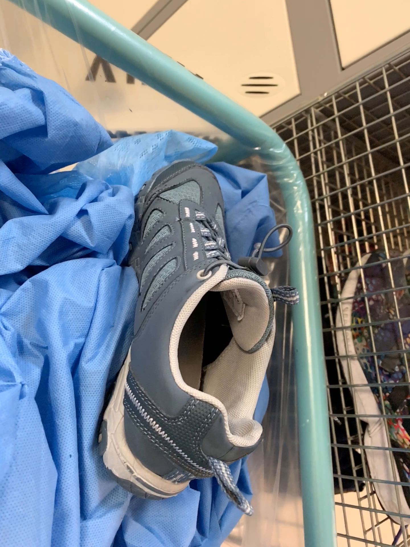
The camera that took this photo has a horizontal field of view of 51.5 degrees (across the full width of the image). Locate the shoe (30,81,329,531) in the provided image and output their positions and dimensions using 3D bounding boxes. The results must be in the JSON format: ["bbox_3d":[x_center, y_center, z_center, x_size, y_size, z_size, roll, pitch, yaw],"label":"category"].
[{"bbox_3d":[-0.001,0.016,0.281,0.102,0.109,0.241,33,56,-34],"label":"shoe"}]
